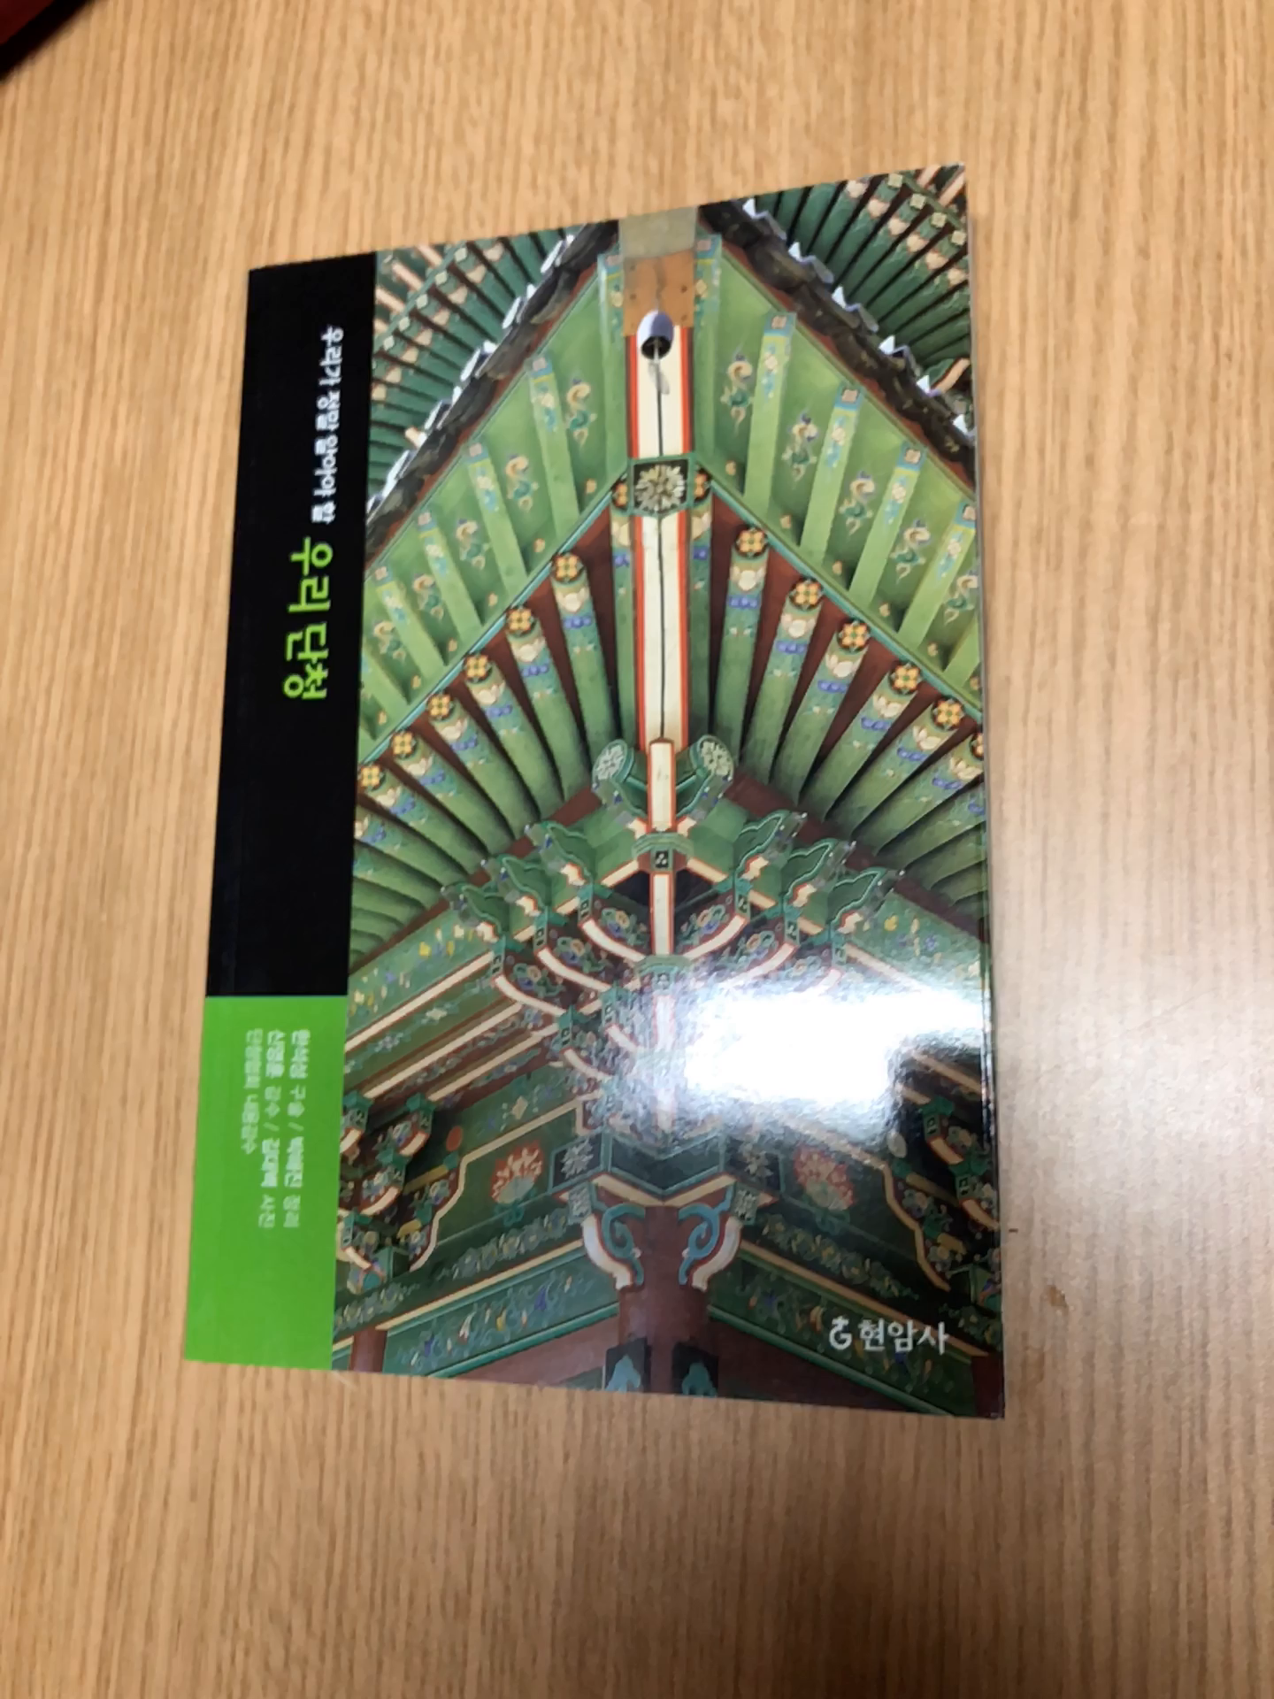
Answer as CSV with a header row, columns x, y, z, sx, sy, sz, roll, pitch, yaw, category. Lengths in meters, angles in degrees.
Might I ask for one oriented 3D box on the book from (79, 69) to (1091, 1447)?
x,y,z,sx,sy,sz,roll,pitch,yaw,category
-0.011,-0.017,0.246,0.160,0.030,0.210,-2,81,14,book
